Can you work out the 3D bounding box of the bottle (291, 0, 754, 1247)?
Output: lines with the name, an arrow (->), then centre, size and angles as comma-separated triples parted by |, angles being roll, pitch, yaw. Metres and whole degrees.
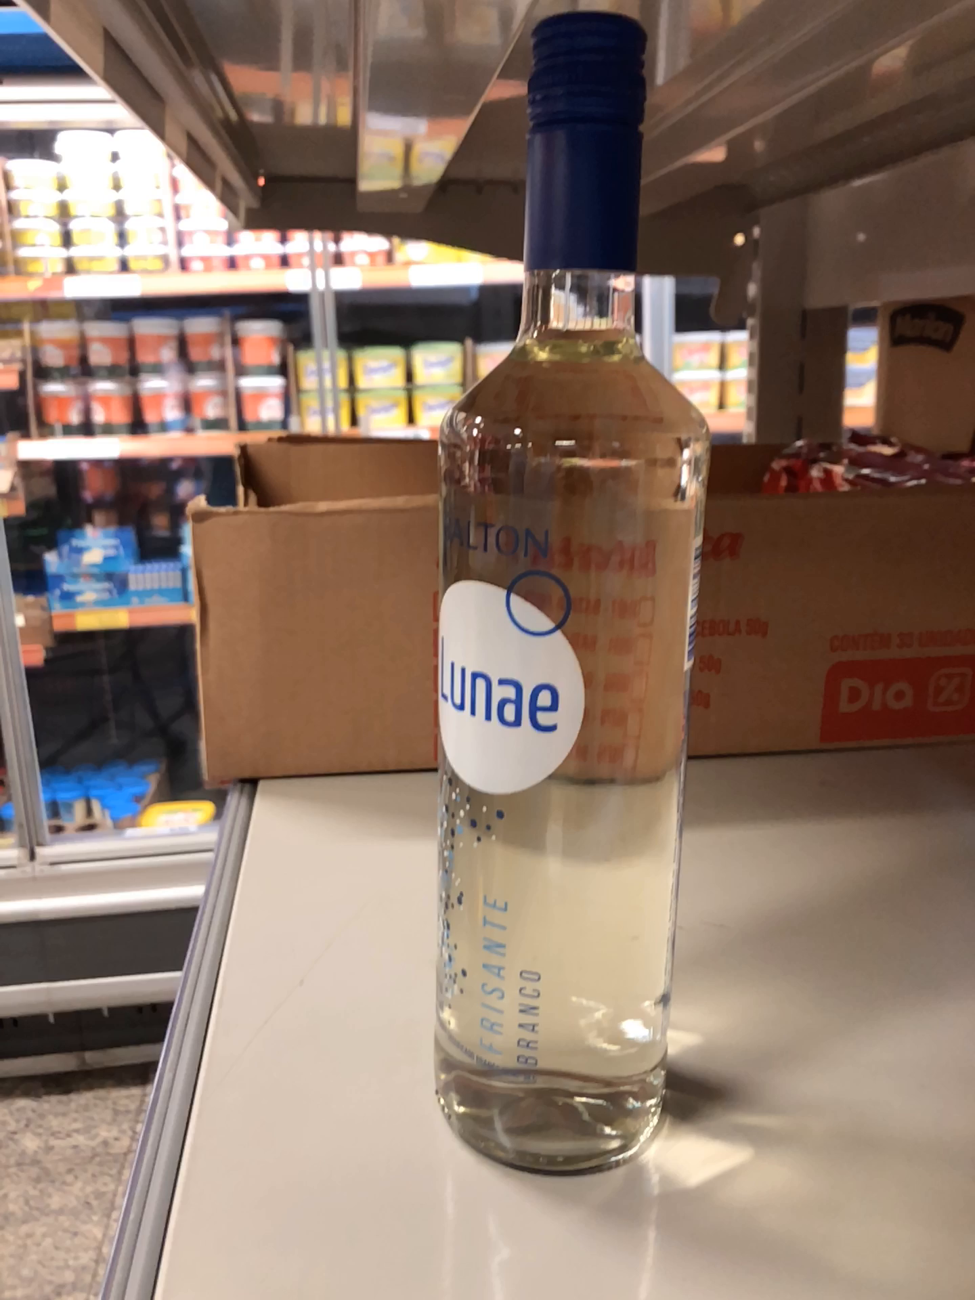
bottle -> 0.016, -0.005, 0.305 | 0.080, 0.308, 0.080 | -3, 15, 1
